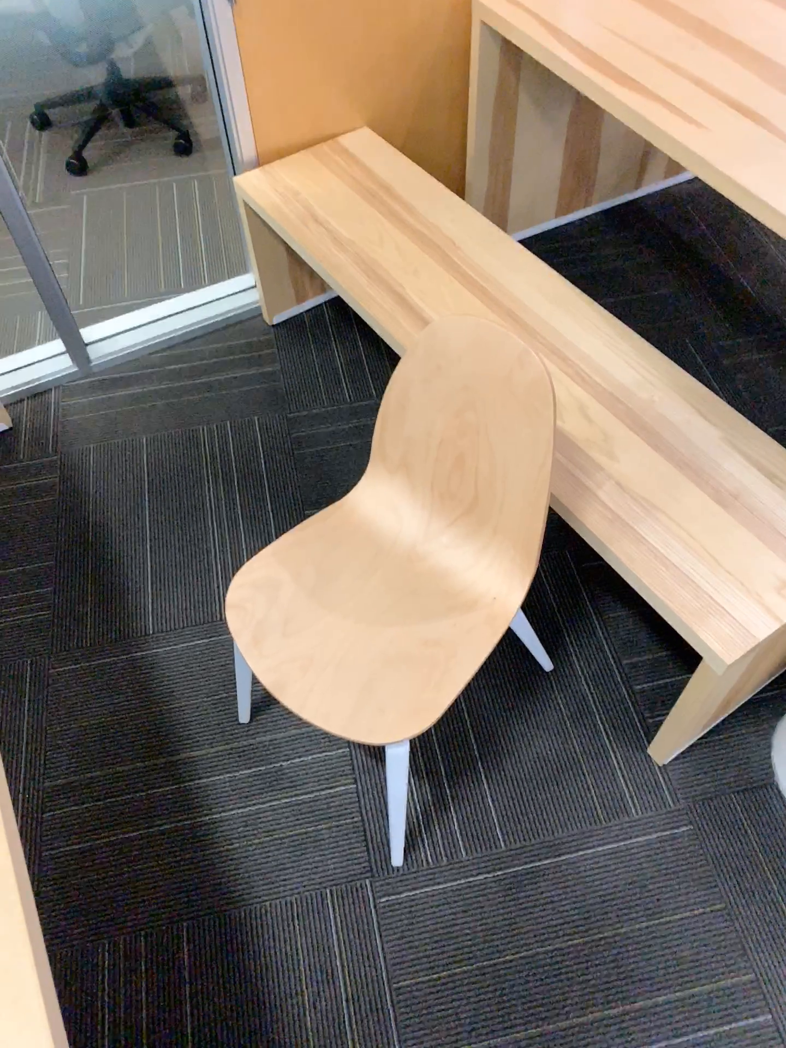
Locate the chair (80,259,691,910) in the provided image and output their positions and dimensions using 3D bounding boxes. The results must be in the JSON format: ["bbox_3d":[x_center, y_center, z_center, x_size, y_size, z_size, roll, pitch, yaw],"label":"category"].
[{"bbox_3d":[0.010,0.146,1.392,0.542,0.836,0.601,36,63,25],"label":"chair"}]
